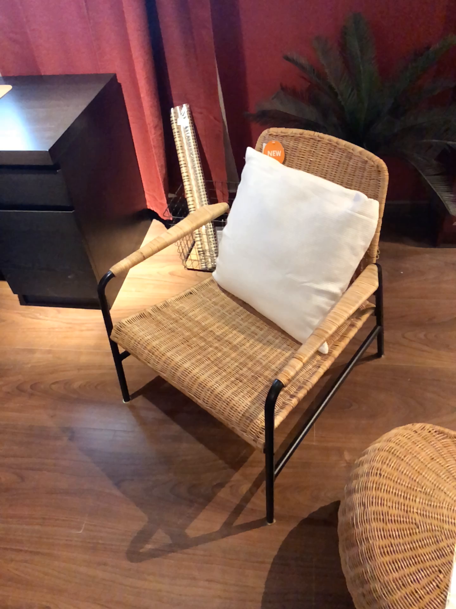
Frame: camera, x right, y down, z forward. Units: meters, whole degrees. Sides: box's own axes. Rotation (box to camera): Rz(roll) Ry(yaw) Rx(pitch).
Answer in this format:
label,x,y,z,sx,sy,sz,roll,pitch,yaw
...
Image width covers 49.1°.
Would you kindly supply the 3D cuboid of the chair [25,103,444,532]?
label,x,y,z,sx,sy,sz,roll,pitch,yaw
chair,0.041,-0.014,1.353,0.672,0.705,0.662,28,53,32
